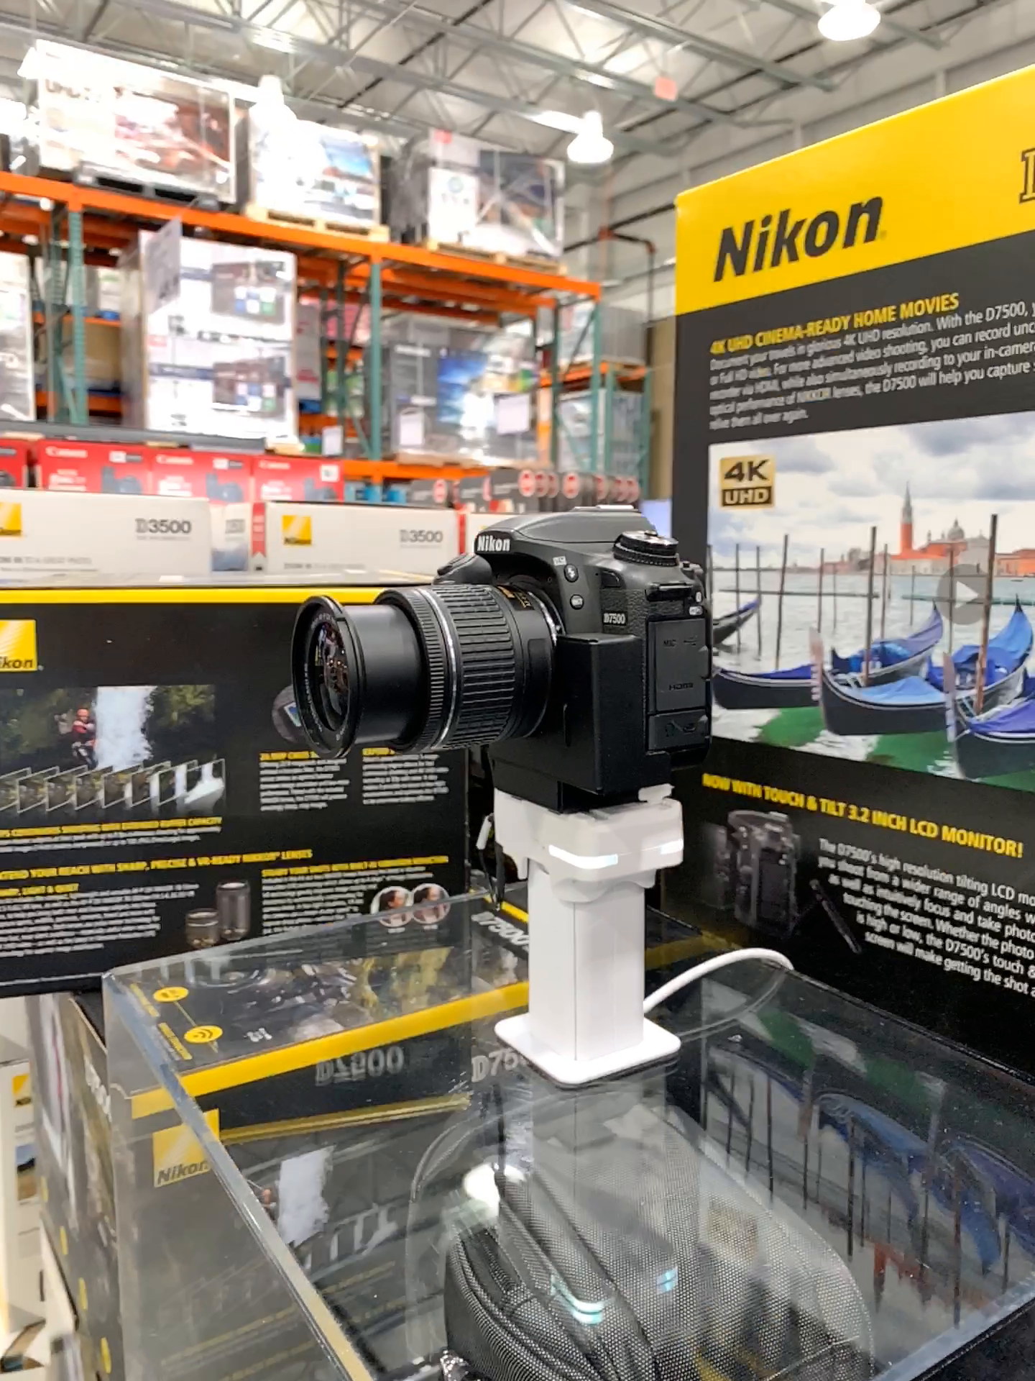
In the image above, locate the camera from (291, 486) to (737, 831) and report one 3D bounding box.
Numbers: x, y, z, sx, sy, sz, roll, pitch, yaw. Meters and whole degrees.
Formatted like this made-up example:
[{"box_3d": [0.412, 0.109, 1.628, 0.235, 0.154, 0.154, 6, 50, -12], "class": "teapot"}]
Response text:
[{"box_3d": [-0.010, -0.022, 0.435, 0.110, 0.110, 0.160, -4, 9, -33], "class": "camera"}]
